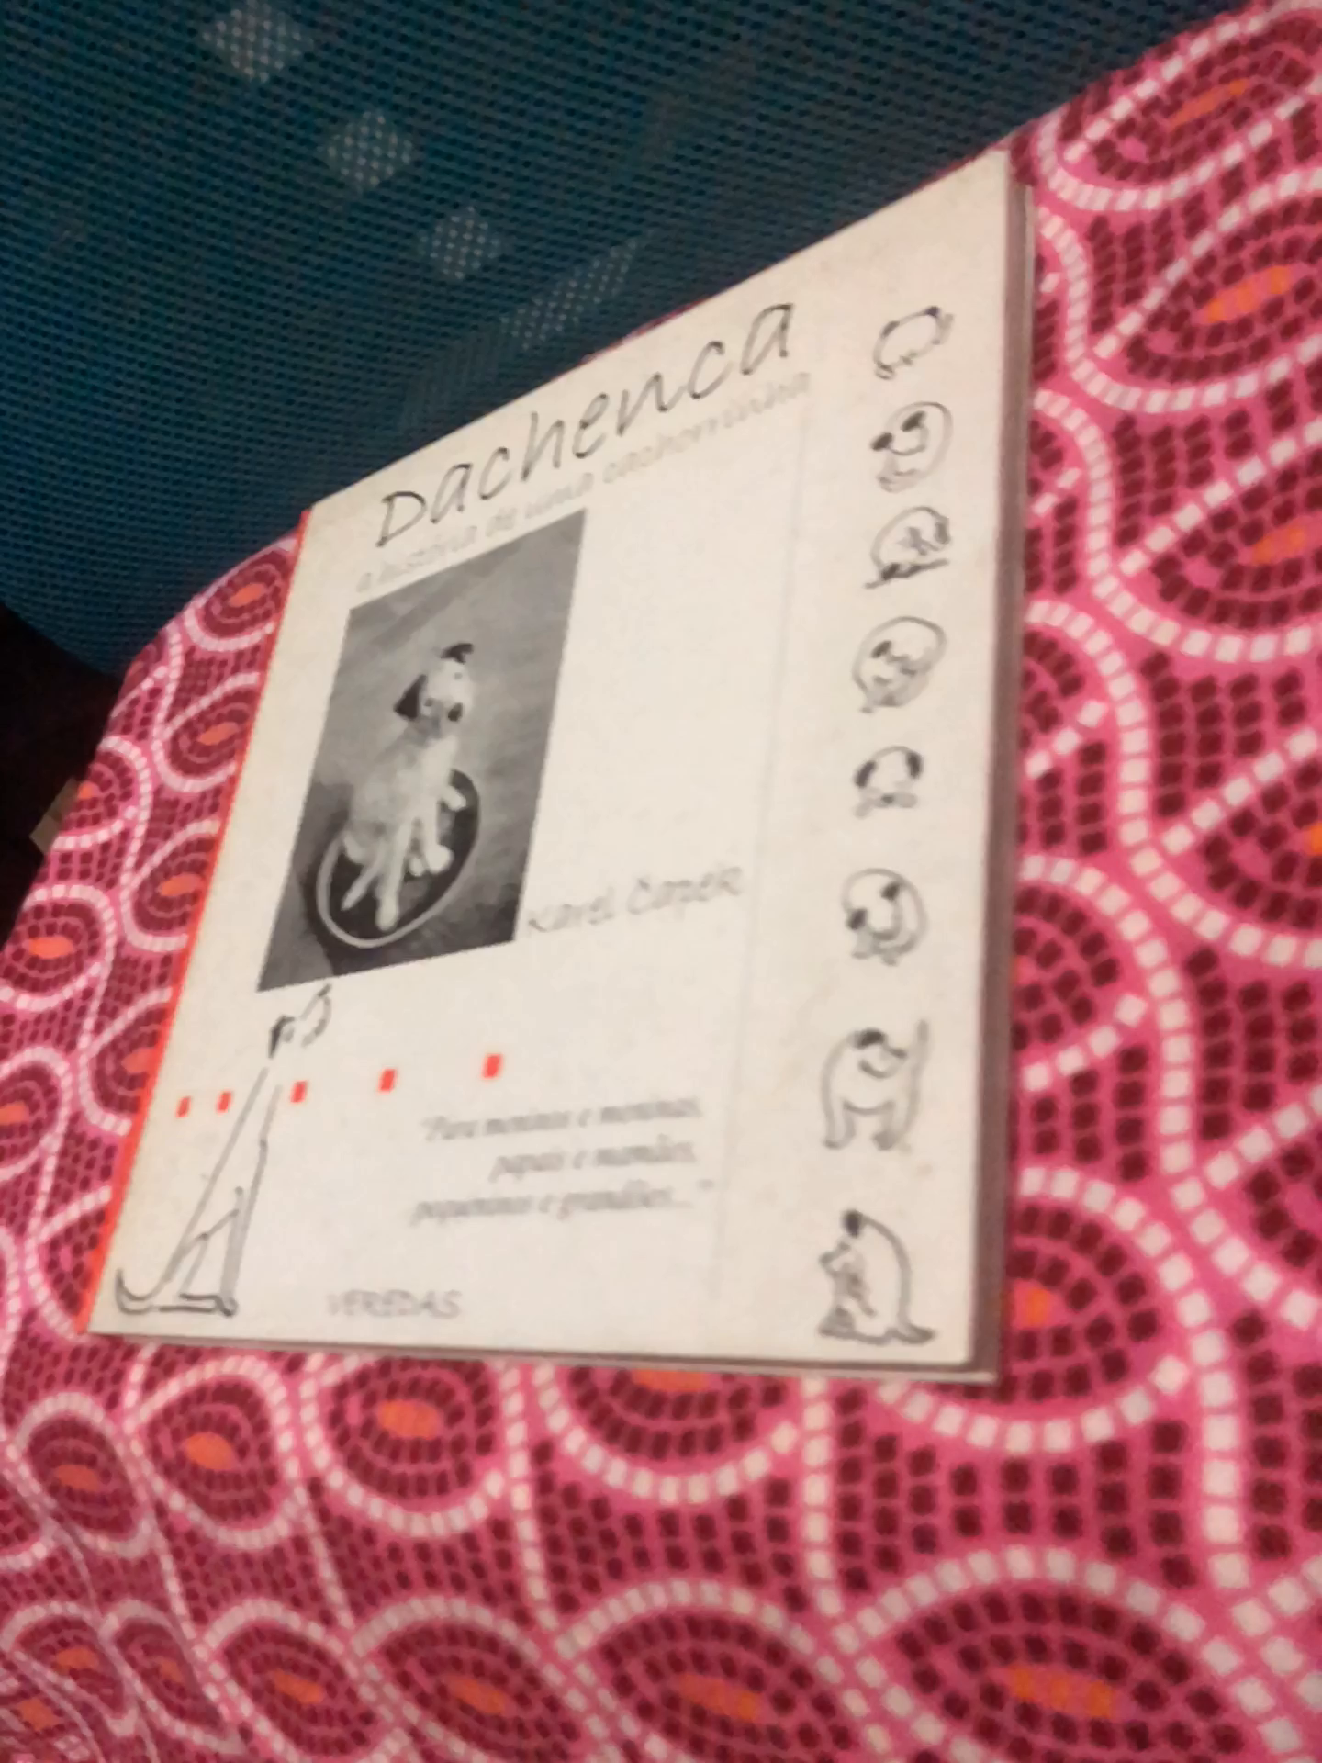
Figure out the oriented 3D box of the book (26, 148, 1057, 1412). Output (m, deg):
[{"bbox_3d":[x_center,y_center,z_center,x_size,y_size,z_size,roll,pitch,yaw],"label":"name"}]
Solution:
[{"bbox_3d":[-0.026,-0.015,0.291,0.206,0.027,0.216,-12,58,37],"label":"book"}]
